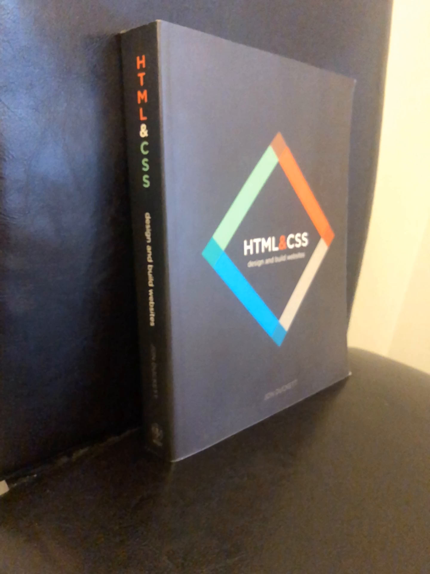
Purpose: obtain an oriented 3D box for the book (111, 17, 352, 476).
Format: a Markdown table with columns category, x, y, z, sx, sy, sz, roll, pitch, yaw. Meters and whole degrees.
| category | x | y | z | sx | sy | sz | roll | pitch | yaw |
| --- | --- | --- | --- | --- | --- | --- | --- | --- | --- |
| book | 0.028 | -0.027 | 0.320 | 0.030 | 0.231 | 0.189 | 8 | 14 | 44 |
